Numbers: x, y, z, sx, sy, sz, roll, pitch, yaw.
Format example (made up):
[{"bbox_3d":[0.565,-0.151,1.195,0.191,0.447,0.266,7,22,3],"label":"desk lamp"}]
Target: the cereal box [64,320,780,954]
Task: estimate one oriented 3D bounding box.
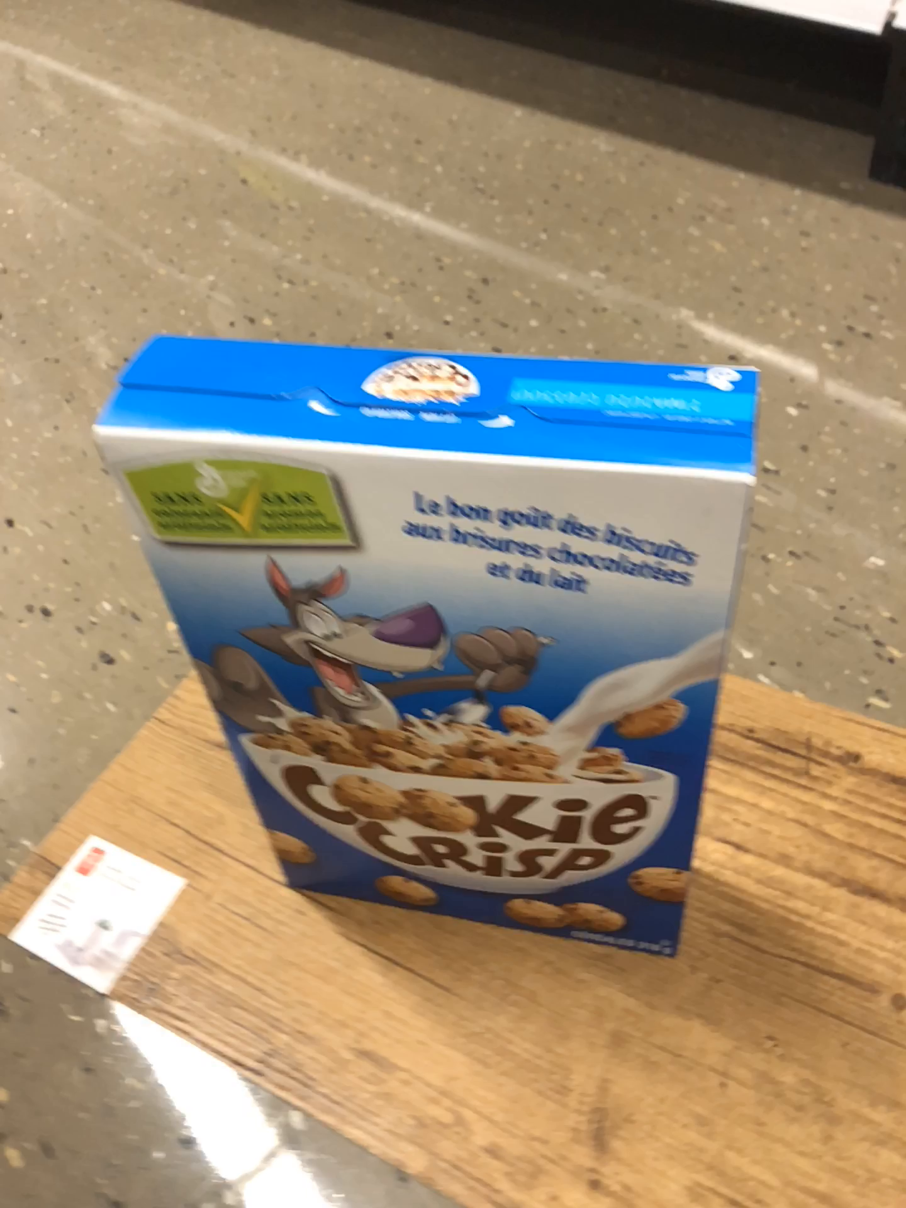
[{"bbox_3d":[0.003,0.030,0.390,0.200,0.269,0.060,6,48,13],"label":"cereal box"}]
